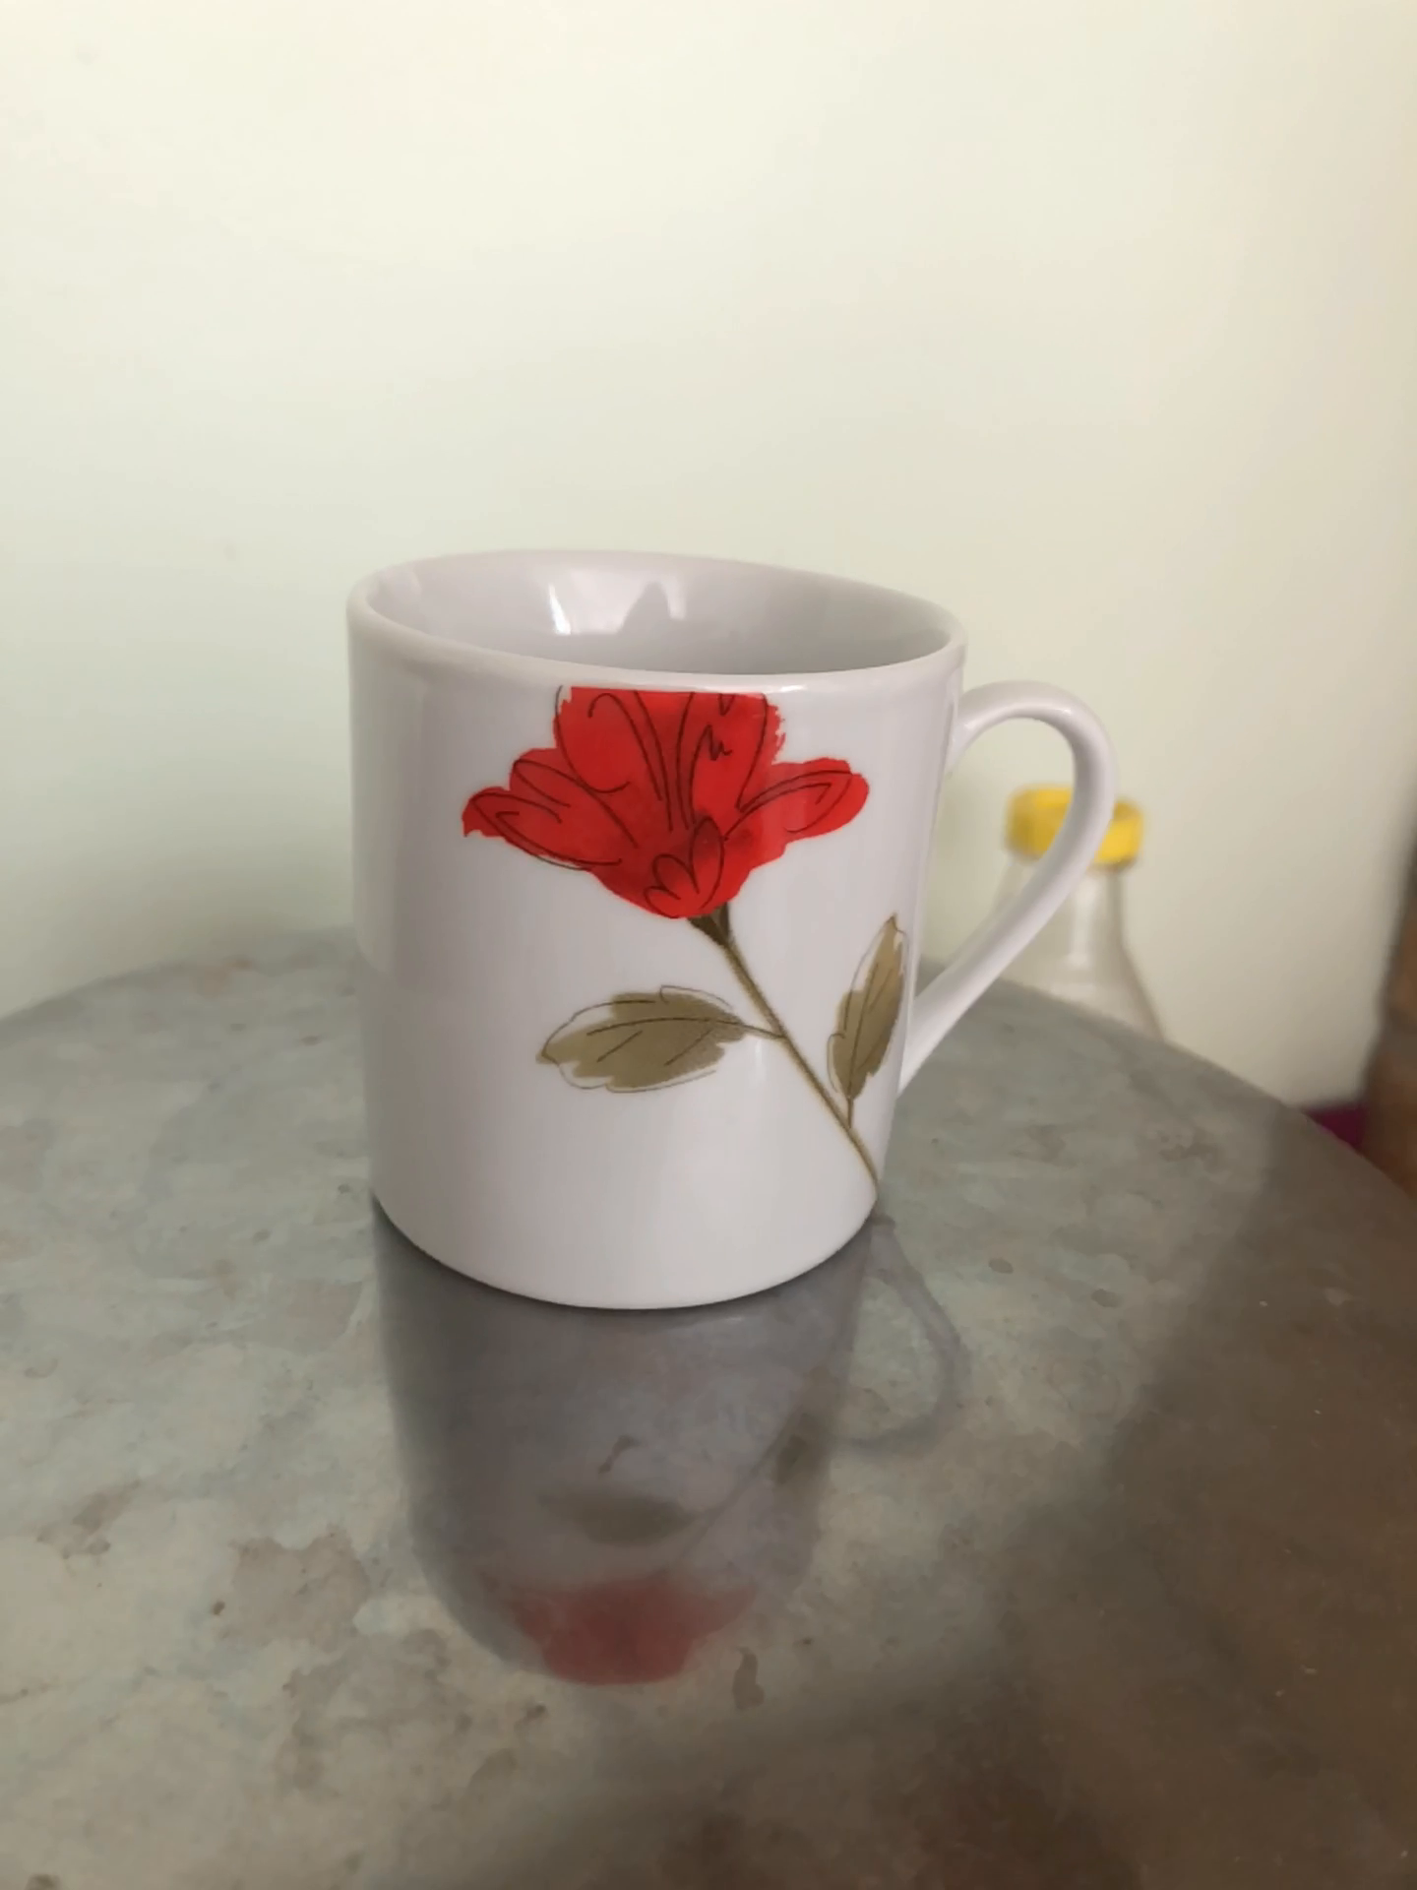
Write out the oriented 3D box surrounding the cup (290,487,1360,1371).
[{"bbox_3d":[0.003,-0.007,0.156,0.080,0.060,0.060,-2,24,-19],"label":"cup"}]
